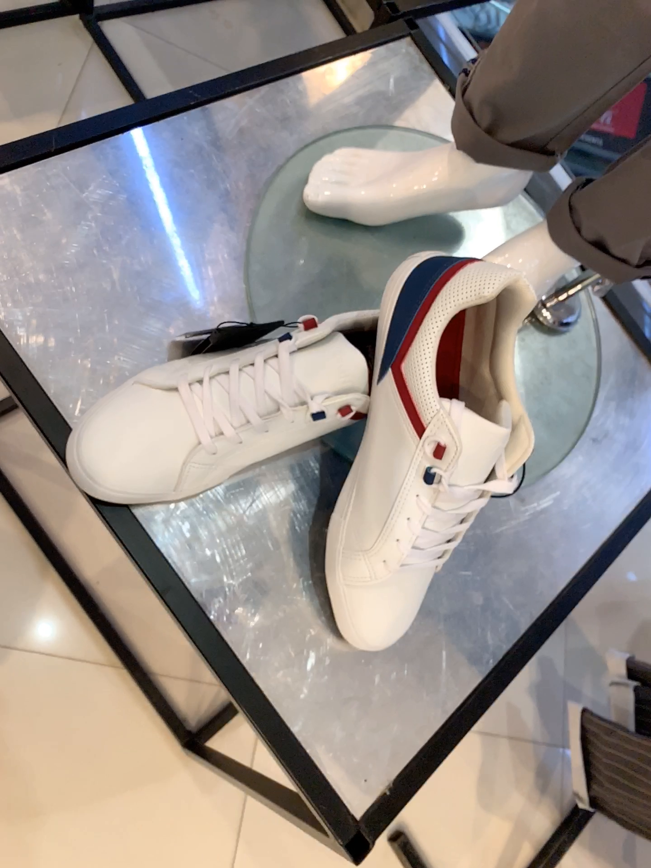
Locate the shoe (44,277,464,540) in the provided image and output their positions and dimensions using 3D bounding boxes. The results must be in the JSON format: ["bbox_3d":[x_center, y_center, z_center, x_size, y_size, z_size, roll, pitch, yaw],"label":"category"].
[{"bbox_3d":[-0.049,-0.022,0.504,0.281,0.100,0.100,-21,91,-26],"label":"shoe"}]

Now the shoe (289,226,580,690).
[{"bbox_3d":[0.074,0.017,0.471,0.100,0.100,0.280,16,86,-27],"label":"shoe"}]
